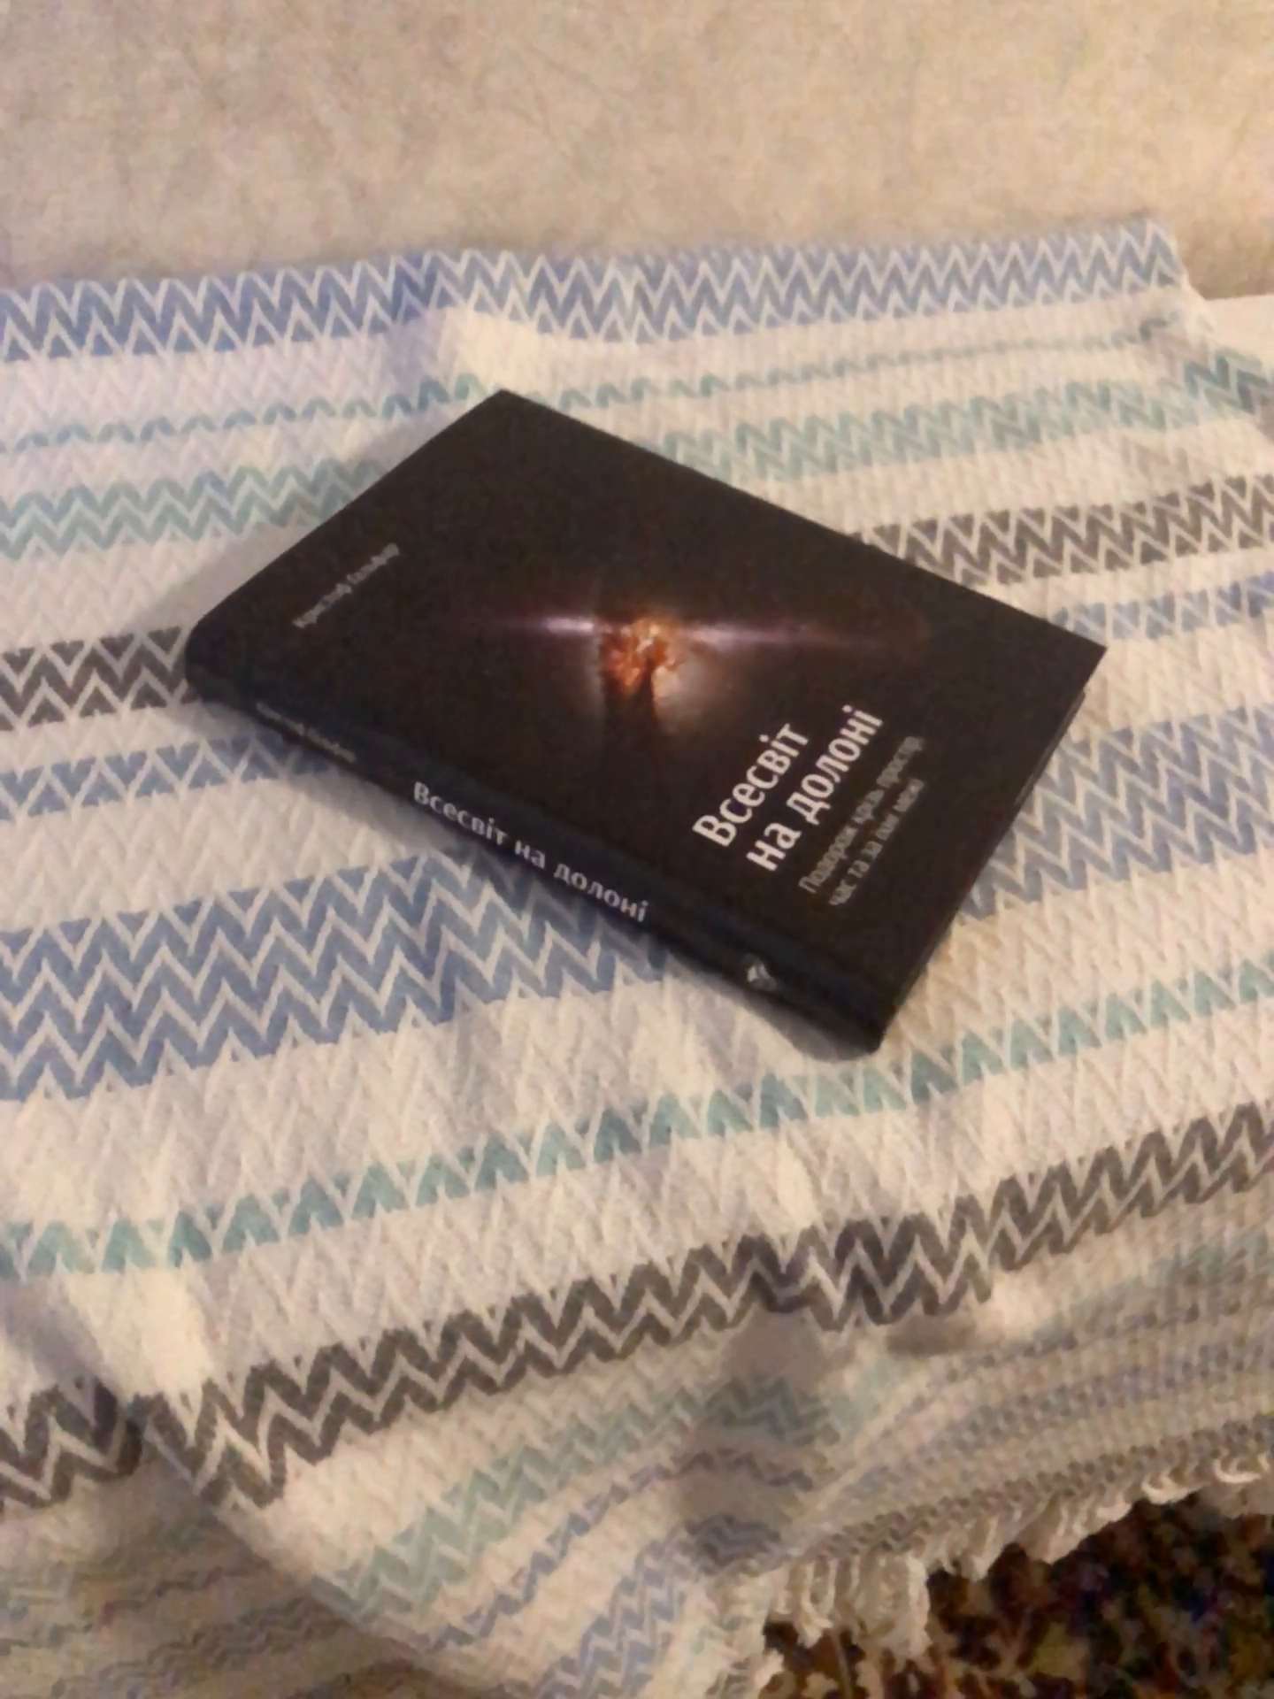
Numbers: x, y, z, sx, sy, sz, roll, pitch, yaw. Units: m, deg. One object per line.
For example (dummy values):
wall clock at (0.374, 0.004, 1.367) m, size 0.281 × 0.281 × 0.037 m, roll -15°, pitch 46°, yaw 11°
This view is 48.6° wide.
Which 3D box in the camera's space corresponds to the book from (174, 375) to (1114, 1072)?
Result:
book at (0.006, -0.054, 0.423) m, size 0.225 × 0.030 × 0.162 m, roll 27°, pitch 53°, yaw 16°
